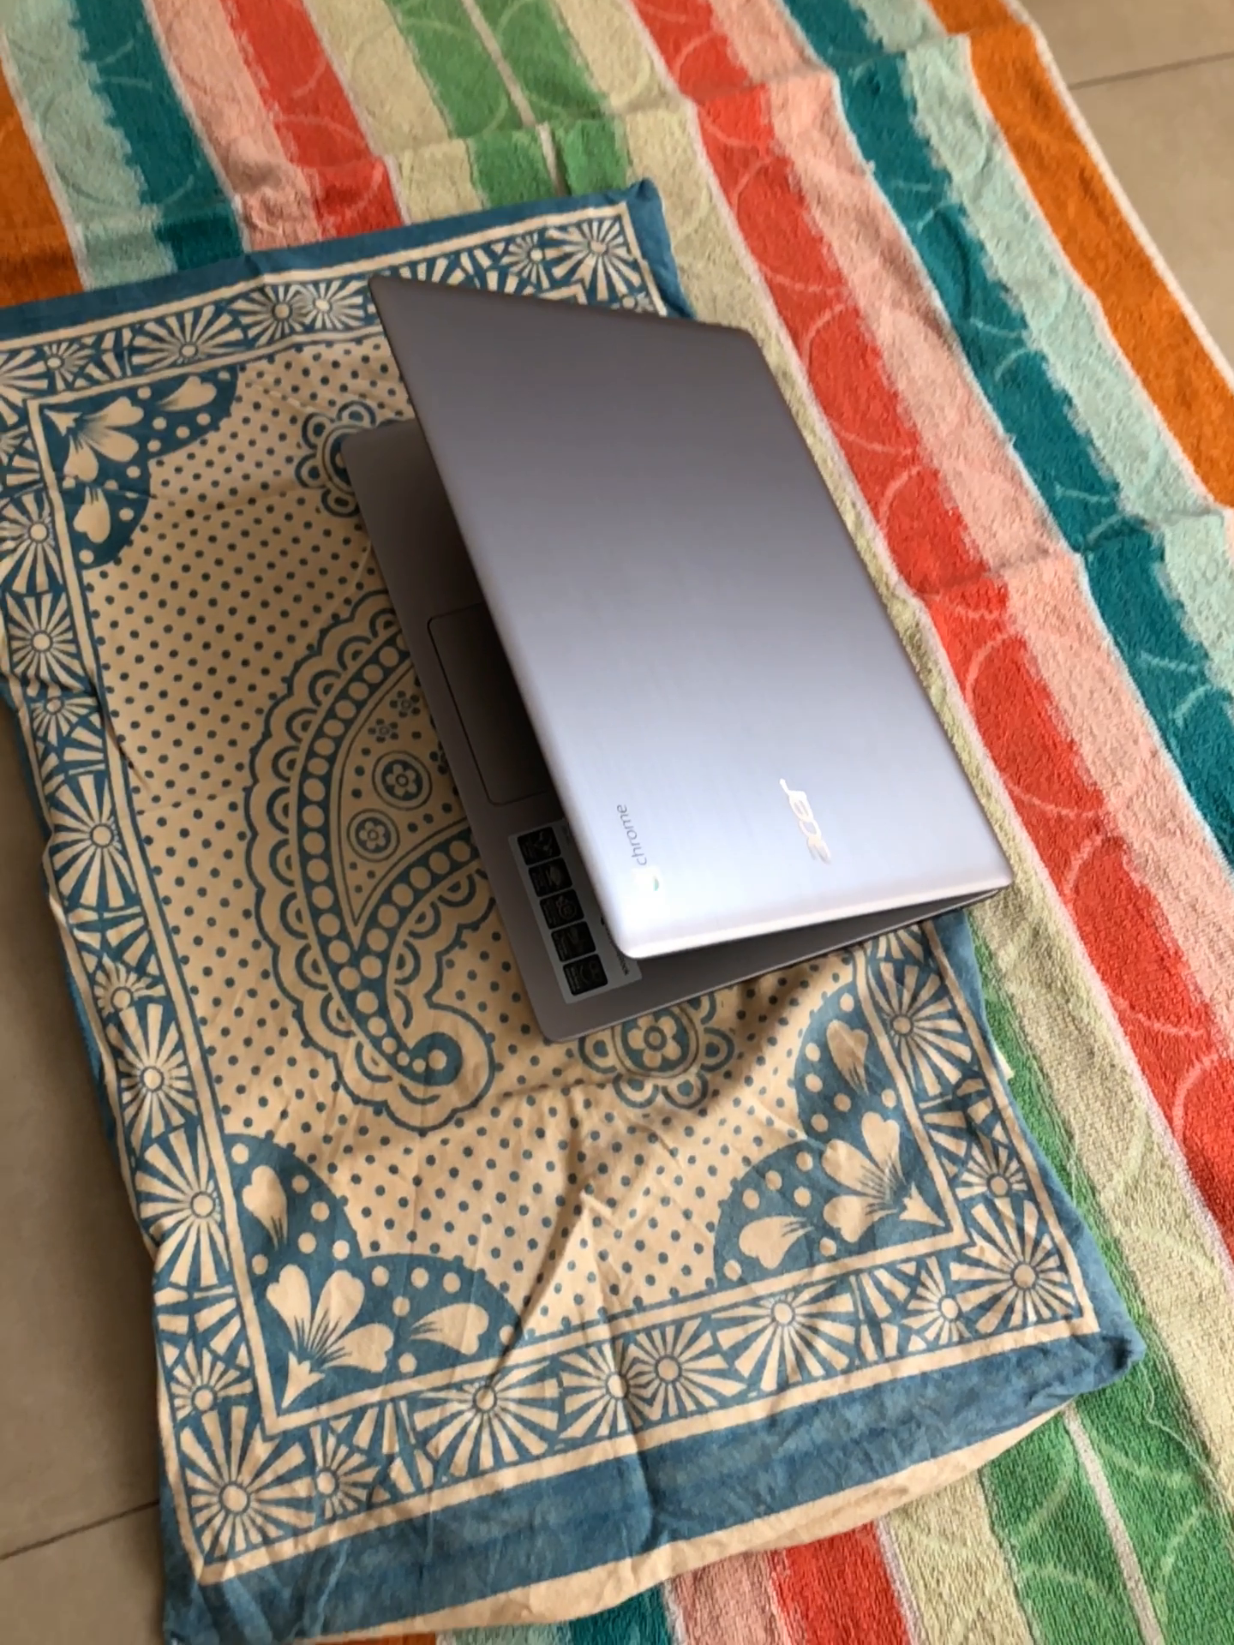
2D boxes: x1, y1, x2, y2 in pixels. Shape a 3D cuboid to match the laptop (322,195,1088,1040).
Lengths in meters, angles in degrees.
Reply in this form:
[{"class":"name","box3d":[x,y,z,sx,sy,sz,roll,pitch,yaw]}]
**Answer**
[{"class":"laptop","box3d":[0.024,-0.099,0.613,0.222,0.105,0.320,-17,71,-9]}]
